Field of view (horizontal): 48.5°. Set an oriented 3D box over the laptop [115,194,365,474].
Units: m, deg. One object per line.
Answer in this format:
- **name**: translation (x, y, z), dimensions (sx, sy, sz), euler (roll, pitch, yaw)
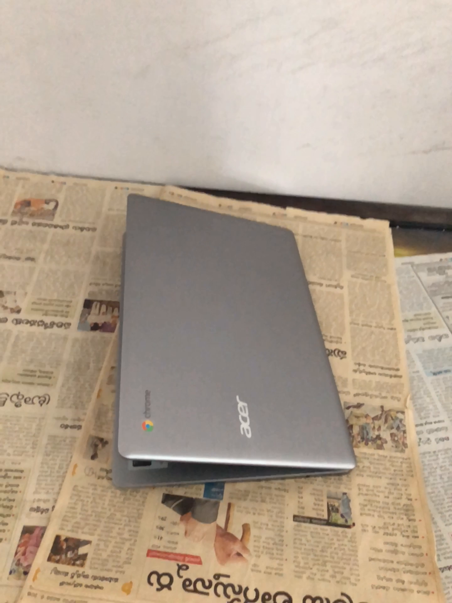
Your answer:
- **laptop**: translation (-0.004, 0.010, 0.547), dimensions (0.210, 0.058, 0.332), euler (-1, 49, -7)
